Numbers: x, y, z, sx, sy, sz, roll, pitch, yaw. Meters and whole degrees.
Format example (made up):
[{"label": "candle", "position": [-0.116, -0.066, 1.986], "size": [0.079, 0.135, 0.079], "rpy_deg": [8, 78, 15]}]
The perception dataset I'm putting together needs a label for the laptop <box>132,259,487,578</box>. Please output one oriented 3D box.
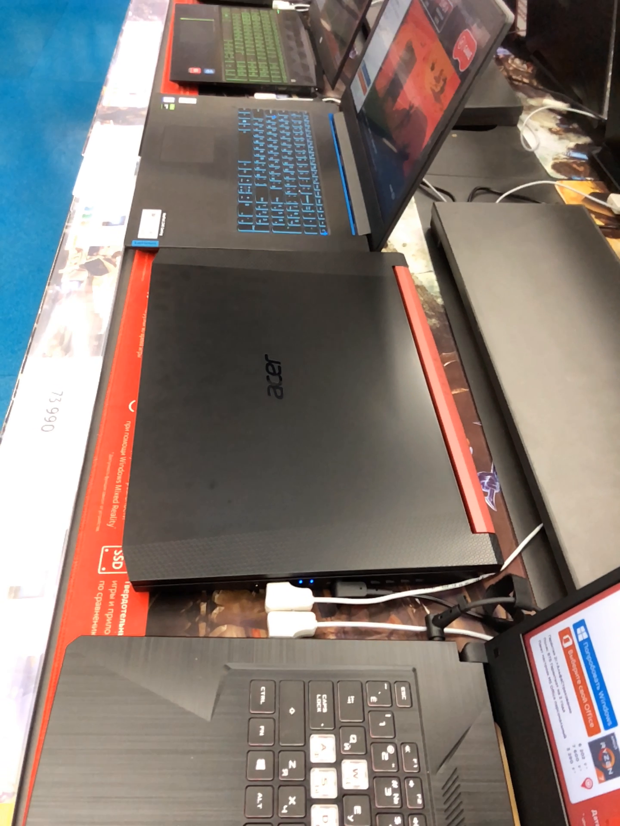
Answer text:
[{"label": "laptop", "position": [-0.011, -0.026, 0.608], "size": [0.255, 0.002, 0.371], "rpy_deg": [0, 48, -7]}]
